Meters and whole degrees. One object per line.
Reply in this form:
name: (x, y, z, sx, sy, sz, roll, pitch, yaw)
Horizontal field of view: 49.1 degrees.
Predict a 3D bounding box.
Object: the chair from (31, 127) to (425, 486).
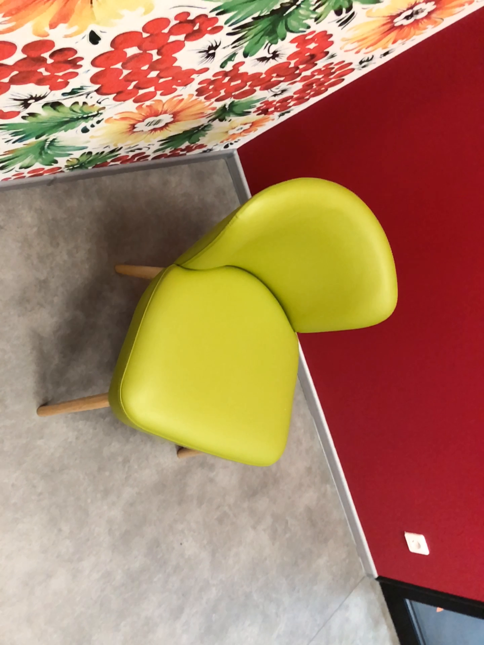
chair: (-0.049, 0.034, 1.362, 0.522, 0.776, 0.571, 29, 64, -35)
